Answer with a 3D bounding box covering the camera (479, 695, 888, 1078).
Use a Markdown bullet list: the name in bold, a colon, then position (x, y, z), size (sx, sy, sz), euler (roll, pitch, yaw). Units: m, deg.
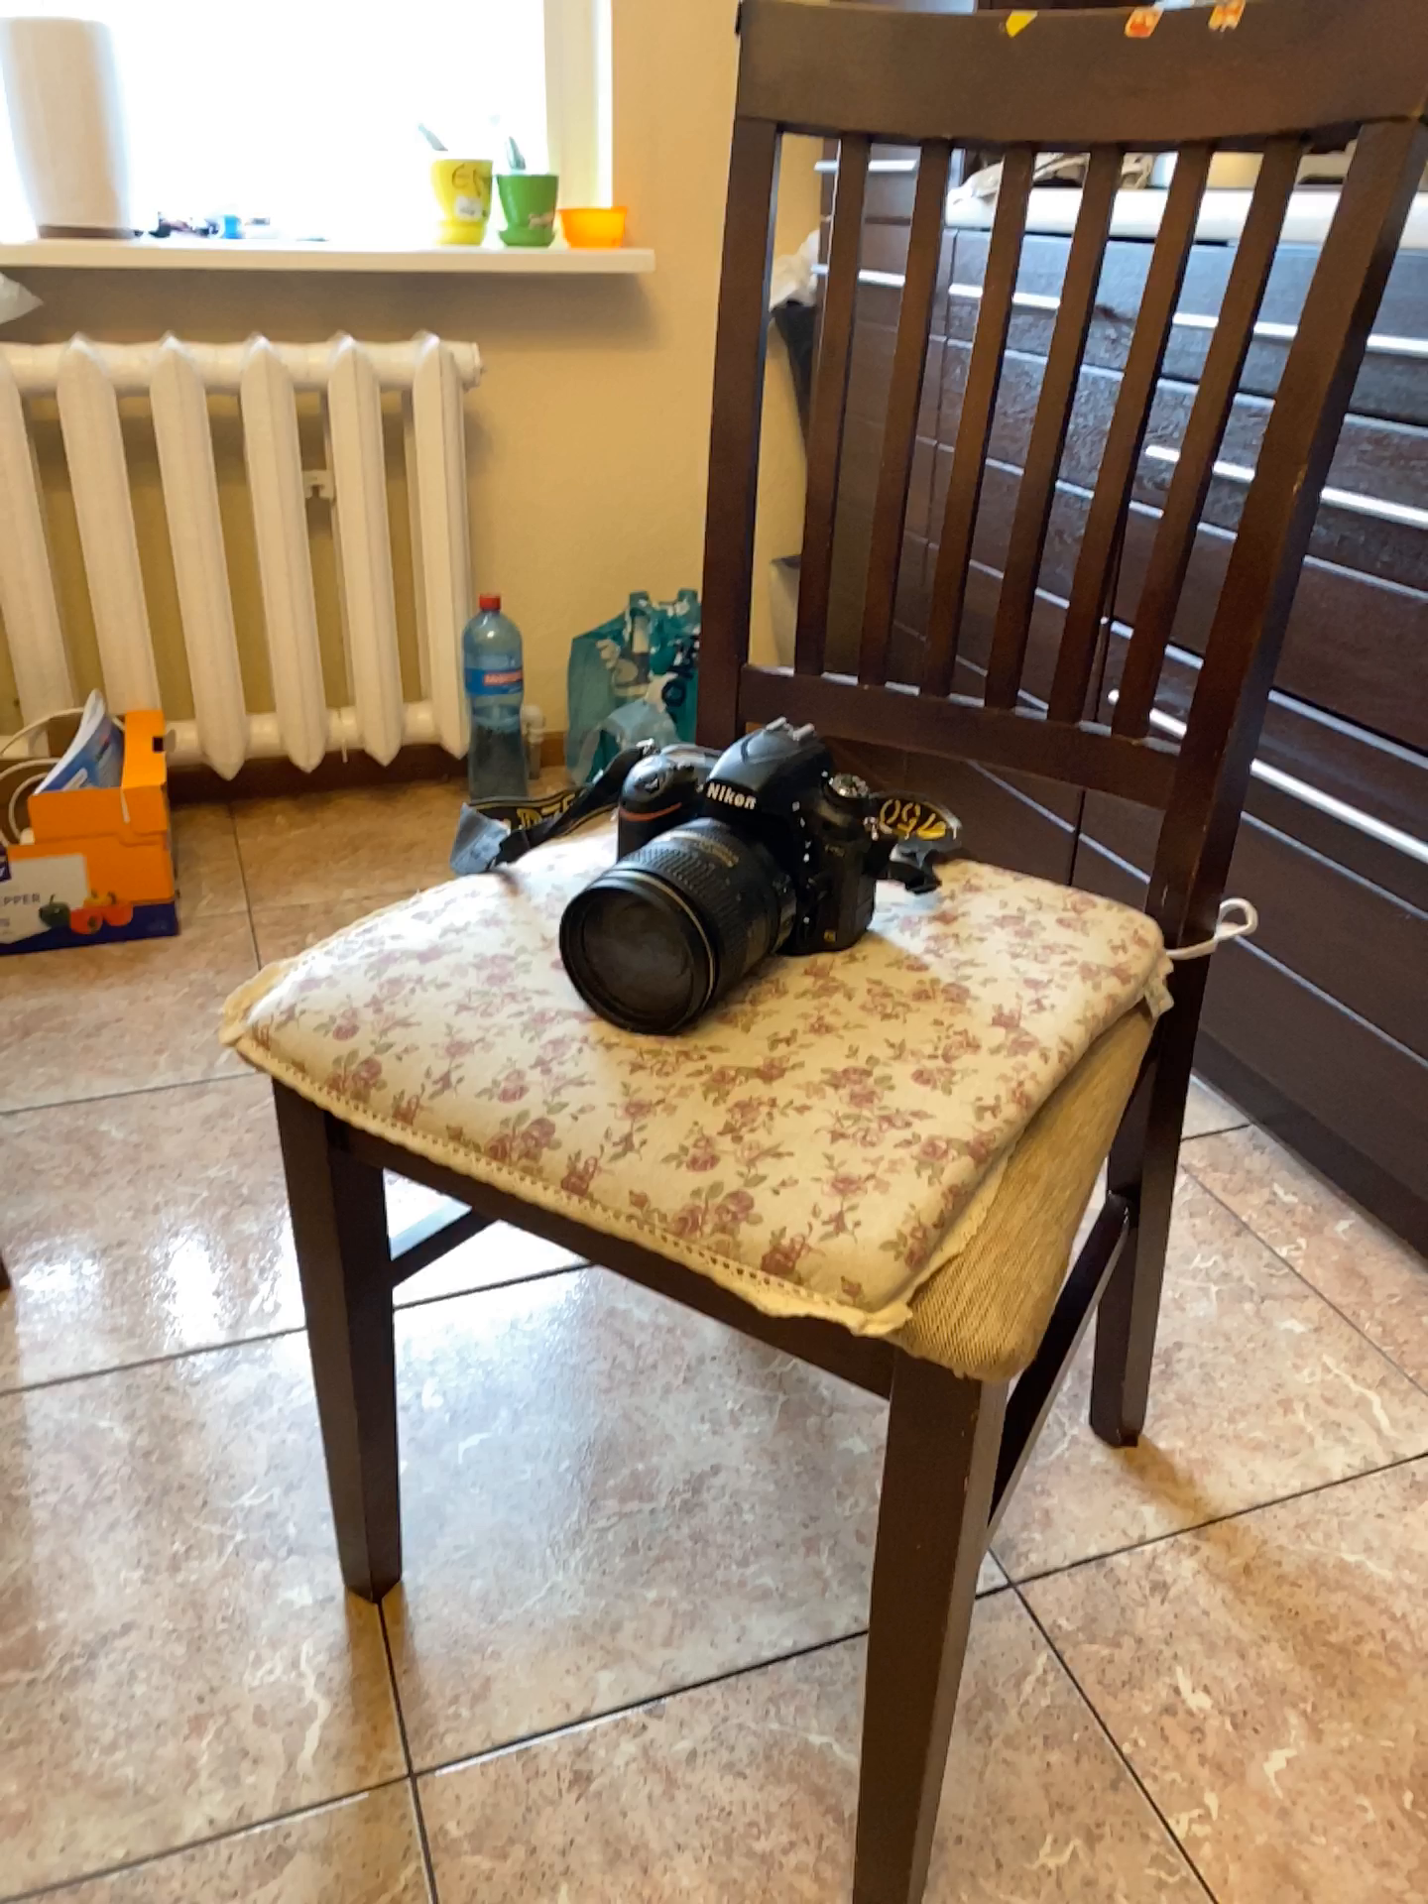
- **camera**: position (-0.012, -0.042, 0.737), size (0.135, 0.120, 0.164), euler (16, 29, 26)
